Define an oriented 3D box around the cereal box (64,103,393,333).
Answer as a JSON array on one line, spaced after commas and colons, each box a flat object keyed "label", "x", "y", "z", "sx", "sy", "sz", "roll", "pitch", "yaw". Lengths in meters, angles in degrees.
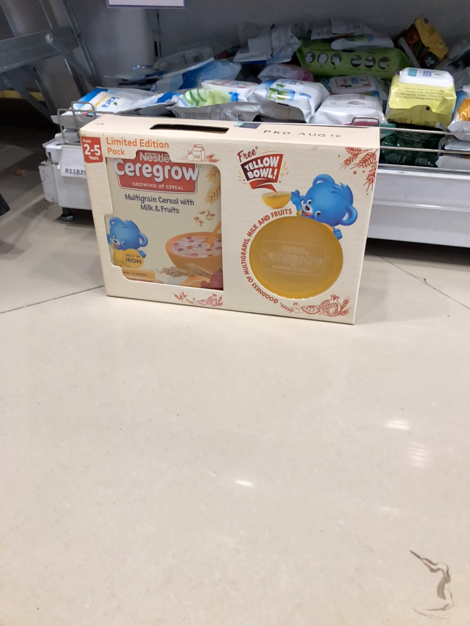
[{"label": "cereal box", "x": -0.006, "y": -0.103, "z": 0.560, "sx": 0.310, "sy": 0.209, "sz": 0.071, "roll": 7, "pitch": 34, "yaw": 11}]
